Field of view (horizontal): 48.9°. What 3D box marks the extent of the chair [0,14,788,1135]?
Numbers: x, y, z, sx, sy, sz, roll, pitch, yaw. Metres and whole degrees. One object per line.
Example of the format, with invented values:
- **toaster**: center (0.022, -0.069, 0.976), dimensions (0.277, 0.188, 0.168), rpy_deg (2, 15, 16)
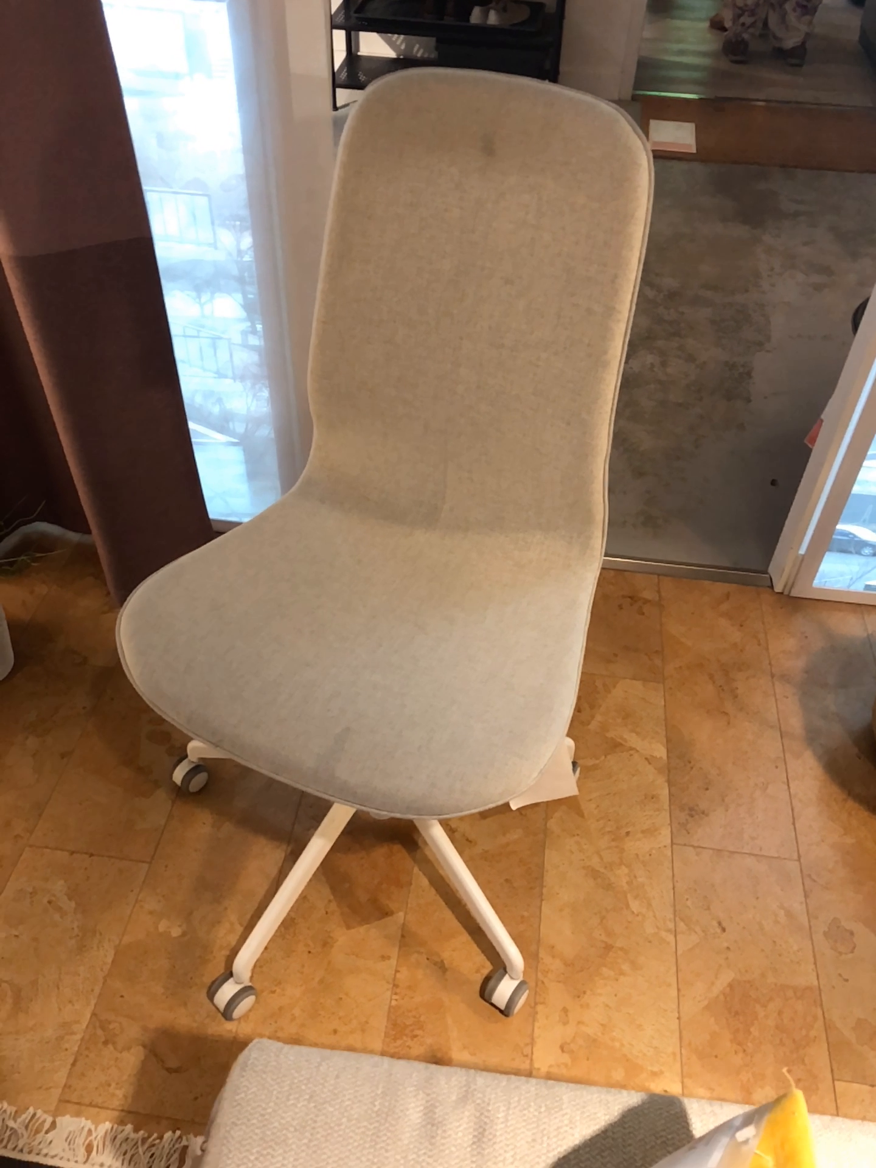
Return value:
- **chair**: center (-0.100, -0.001, 1.108), dimensions (0.670, 0.936, 0.692), rpy_deg (15, 46, 13)
